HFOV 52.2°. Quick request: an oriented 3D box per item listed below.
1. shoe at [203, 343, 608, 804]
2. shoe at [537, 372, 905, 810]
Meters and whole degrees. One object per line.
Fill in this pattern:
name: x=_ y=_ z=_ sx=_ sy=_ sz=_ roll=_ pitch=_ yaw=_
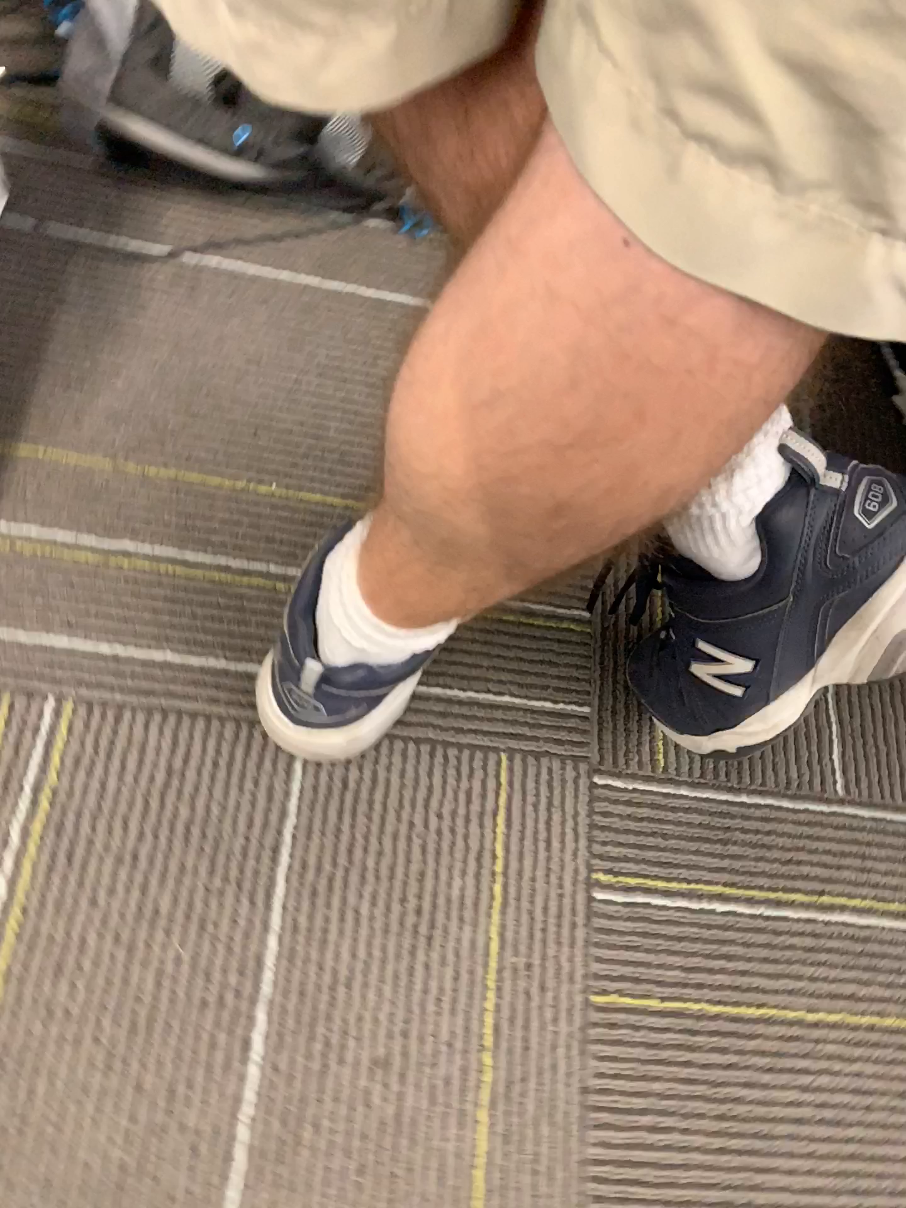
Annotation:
shoe: x=-0.025 y=-0.029 z=0.629 sx=0.120 sy=0.077 sz=0.297 roll=33 pitch=65 yaw=4
shoe: x=0.174 y=0.018 z=0.562 sx=0.129 sy=0.293 sz=0.122 roll=29 pitch=66 yaw=-1
